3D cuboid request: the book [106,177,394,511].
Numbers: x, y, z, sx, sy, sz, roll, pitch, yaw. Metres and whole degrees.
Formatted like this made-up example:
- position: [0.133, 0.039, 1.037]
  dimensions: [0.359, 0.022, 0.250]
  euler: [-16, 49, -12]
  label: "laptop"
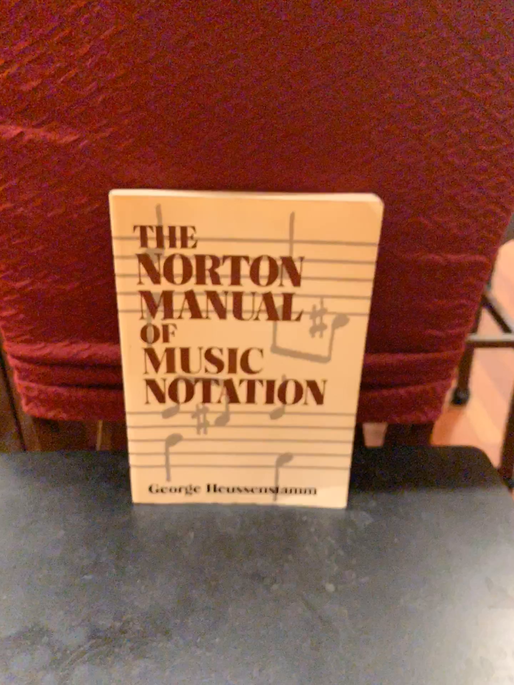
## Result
- position: [-0.008, 0.015, 0.403]
  dimensions: [0.180, 0.259, 0.030]
  euler: [1, 25, -2]
  label: "book"
